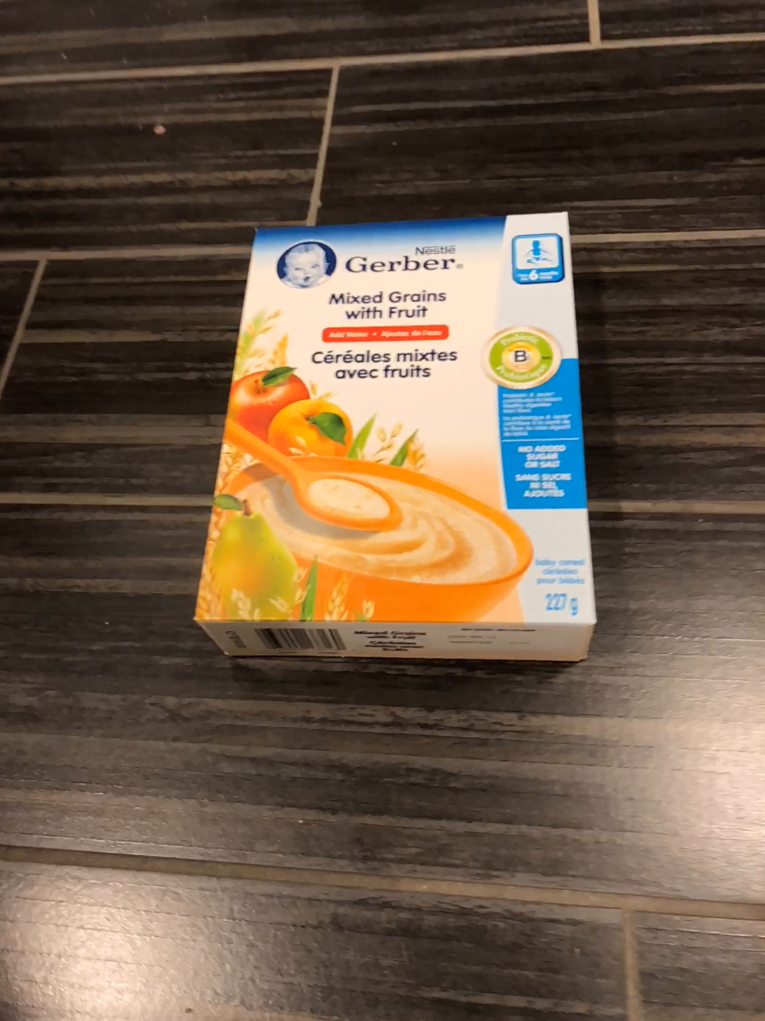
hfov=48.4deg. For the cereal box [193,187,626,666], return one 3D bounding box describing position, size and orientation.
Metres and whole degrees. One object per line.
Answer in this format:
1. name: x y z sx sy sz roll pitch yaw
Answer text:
1. cereal box: 0.015 -0.041 0.360 0.150 0.050 0.200 0 64 7
